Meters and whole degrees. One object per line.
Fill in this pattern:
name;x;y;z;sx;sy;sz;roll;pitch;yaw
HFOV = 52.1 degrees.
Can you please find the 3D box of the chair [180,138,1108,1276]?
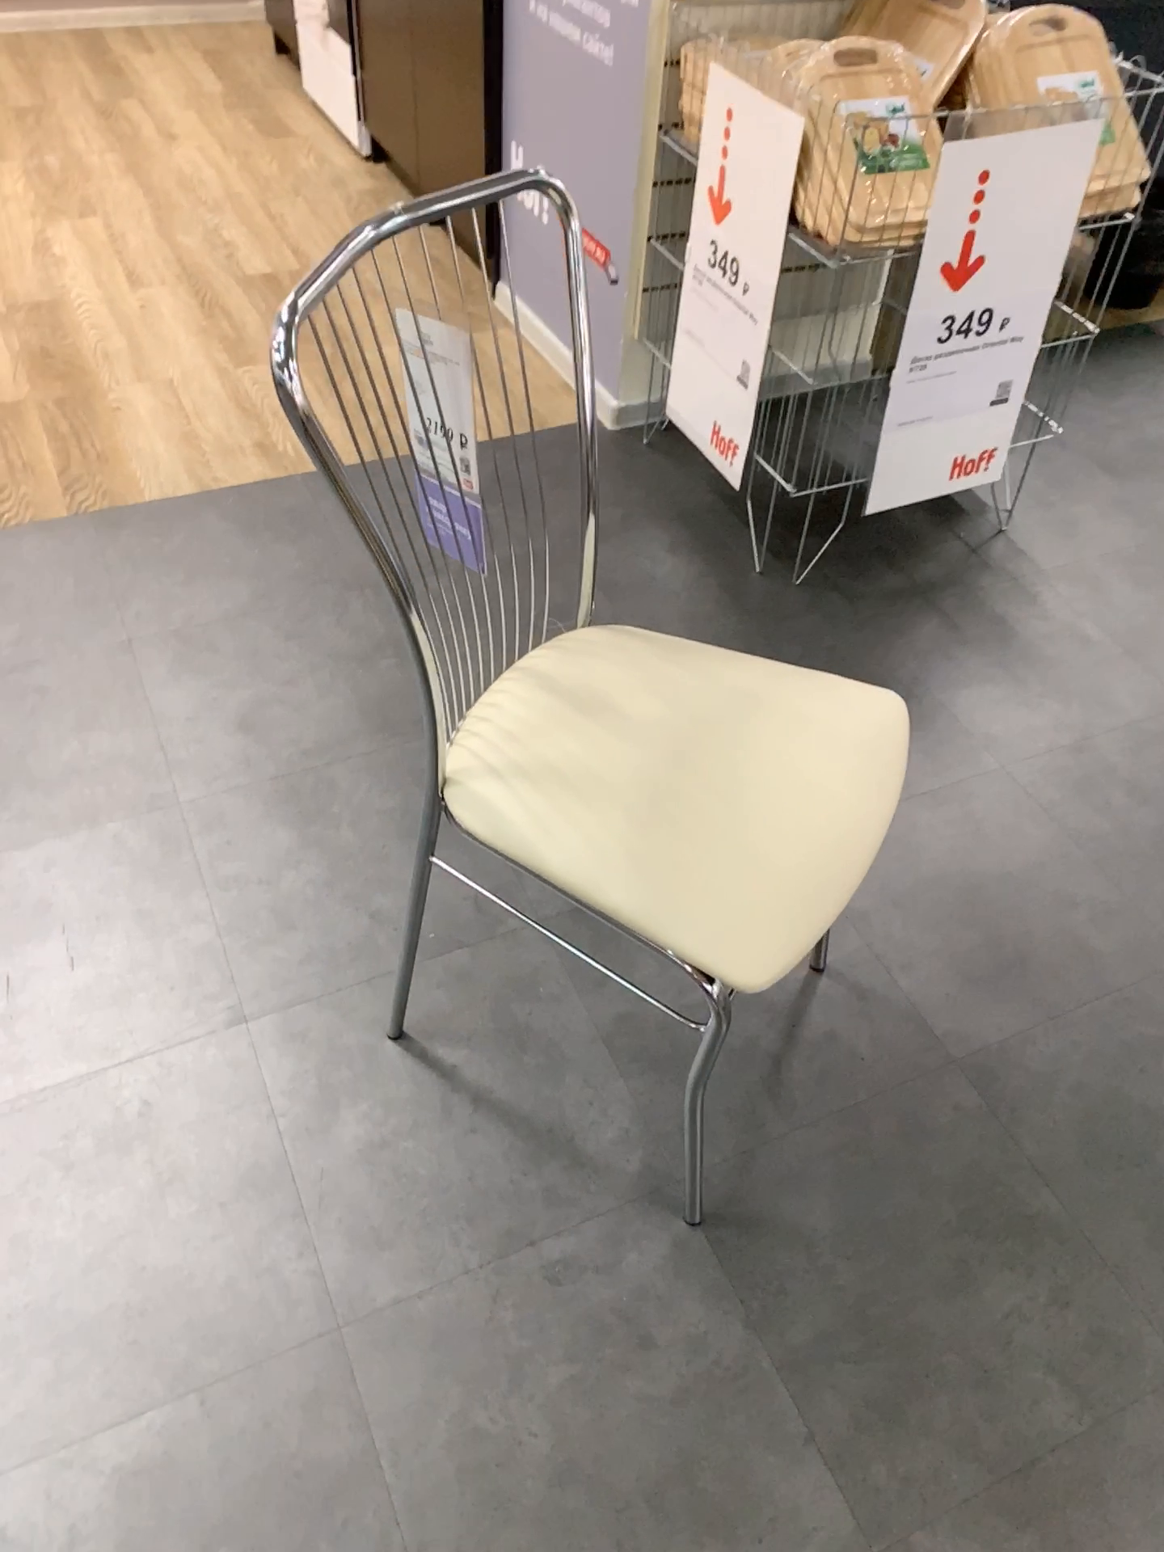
chair;0.042;-0.024;1.246;0.552;0.965;0.474;25;48;19
